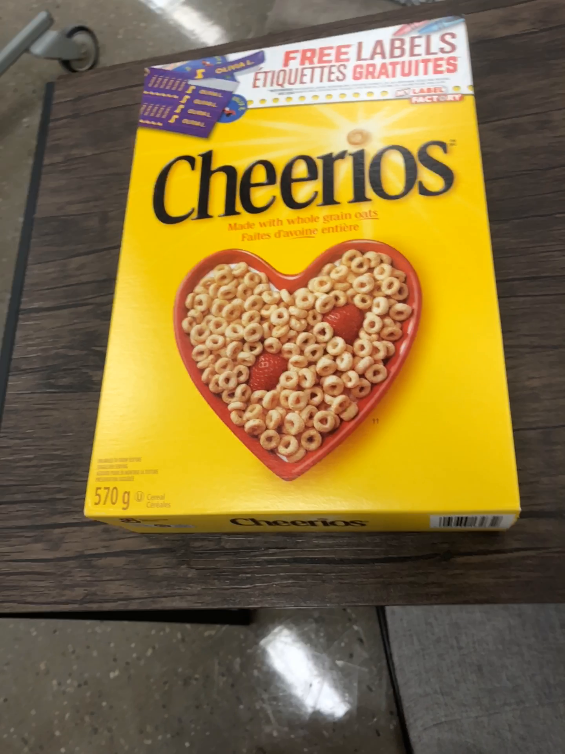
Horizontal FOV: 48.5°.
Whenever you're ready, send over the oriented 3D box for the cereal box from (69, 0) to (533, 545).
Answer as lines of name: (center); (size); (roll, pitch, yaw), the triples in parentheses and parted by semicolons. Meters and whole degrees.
cereal box: (0.013, -0.067, 0.427); (0.240, 0.100, 0.340); (-4, 68, 11)
